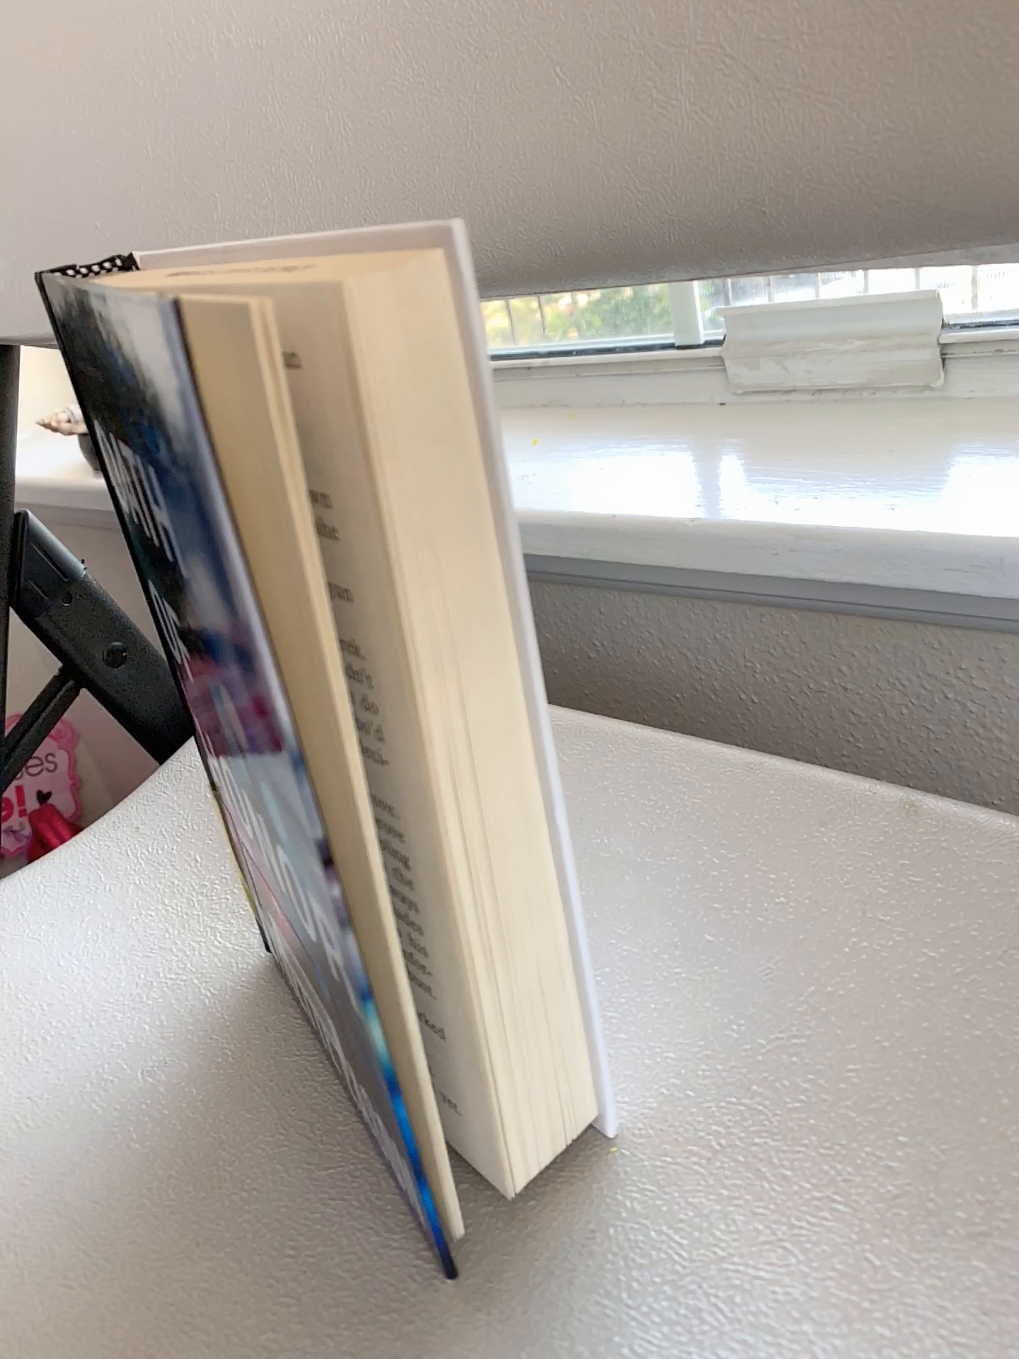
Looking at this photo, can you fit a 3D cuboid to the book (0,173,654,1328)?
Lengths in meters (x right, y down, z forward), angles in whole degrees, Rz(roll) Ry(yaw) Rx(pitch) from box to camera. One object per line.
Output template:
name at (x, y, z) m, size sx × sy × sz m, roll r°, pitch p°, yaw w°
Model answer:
book at (-0.051, 0.009, 0.254) m, size 0.063 × 0.217 × 0.155 m, roll -24°, pitch 28°, yaw -28°
